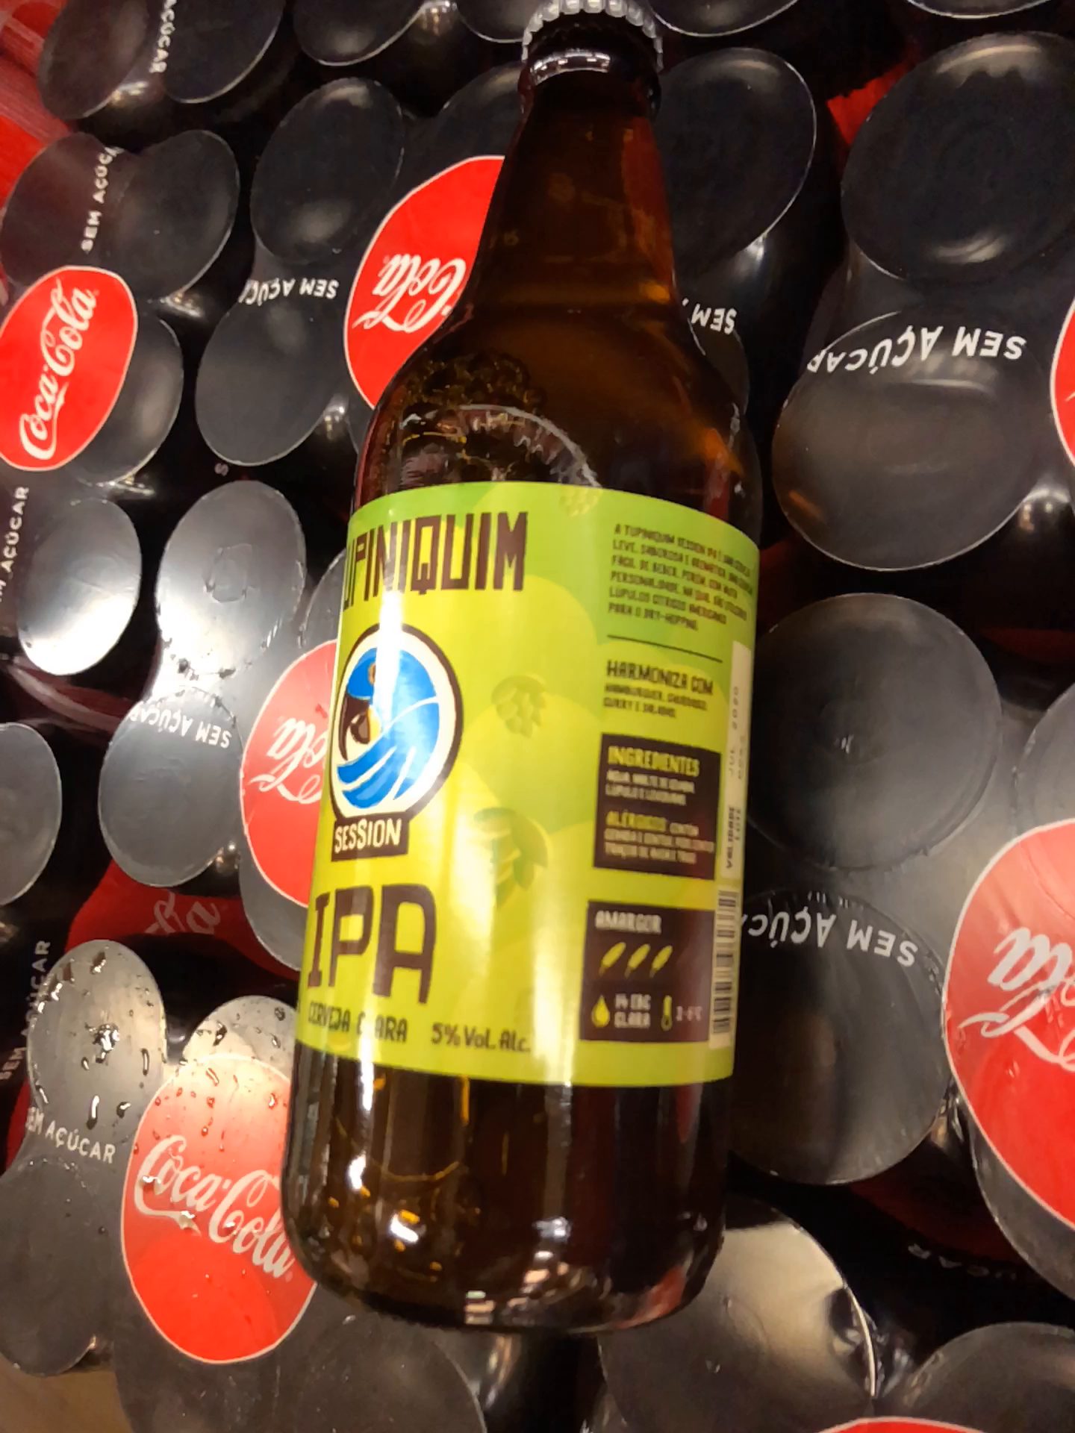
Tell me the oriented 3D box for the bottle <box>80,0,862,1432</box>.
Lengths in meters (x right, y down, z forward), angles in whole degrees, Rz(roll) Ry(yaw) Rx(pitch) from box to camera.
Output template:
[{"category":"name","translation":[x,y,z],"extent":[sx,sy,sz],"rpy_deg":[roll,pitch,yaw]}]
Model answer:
[{"category":"bottle","translation":[-0.002,-0.031,0.207],"extent":[0.090,0.070,0.260],"rpy_deg":[-1,79,31]}]
